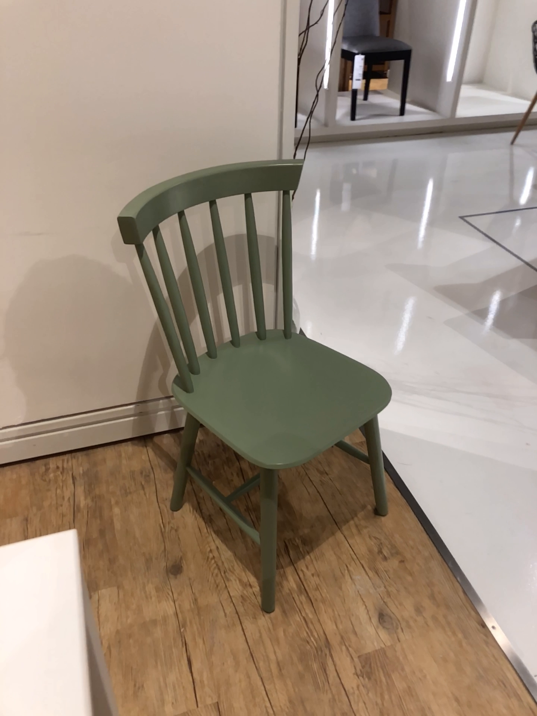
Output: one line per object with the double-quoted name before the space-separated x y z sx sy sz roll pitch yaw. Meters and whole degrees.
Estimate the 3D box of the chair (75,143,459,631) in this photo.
"chair" -0.017 0.042 1.303 0.472 0.813 0.522 -27 44 -33
